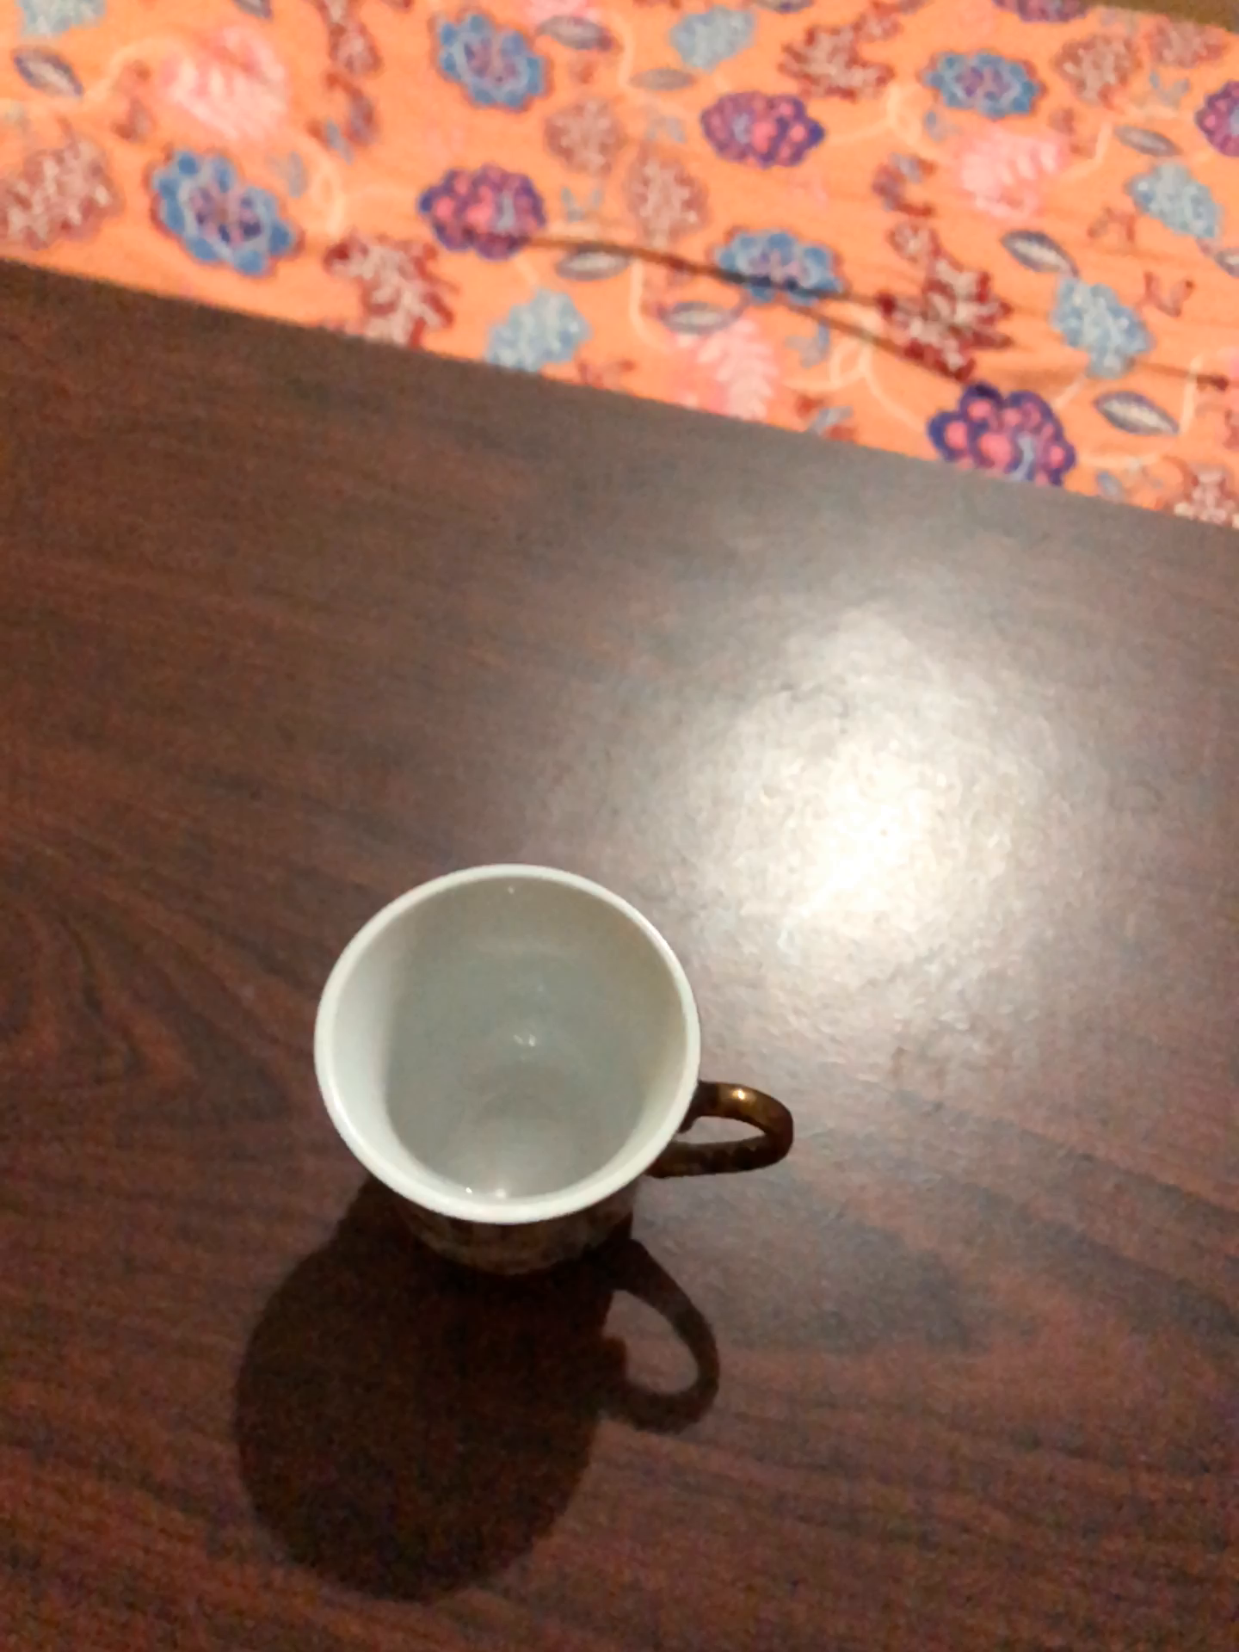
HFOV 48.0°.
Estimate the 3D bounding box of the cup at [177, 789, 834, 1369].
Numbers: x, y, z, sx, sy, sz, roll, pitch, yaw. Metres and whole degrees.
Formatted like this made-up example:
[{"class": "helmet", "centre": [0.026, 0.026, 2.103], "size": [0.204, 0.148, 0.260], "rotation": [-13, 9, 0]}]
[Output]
[{"class": "cup", "centre": [-0.015, 0.043, 0.238], "size": [0.090, 0.050, 0.070], "rotation": [9, 56, 4]}]
